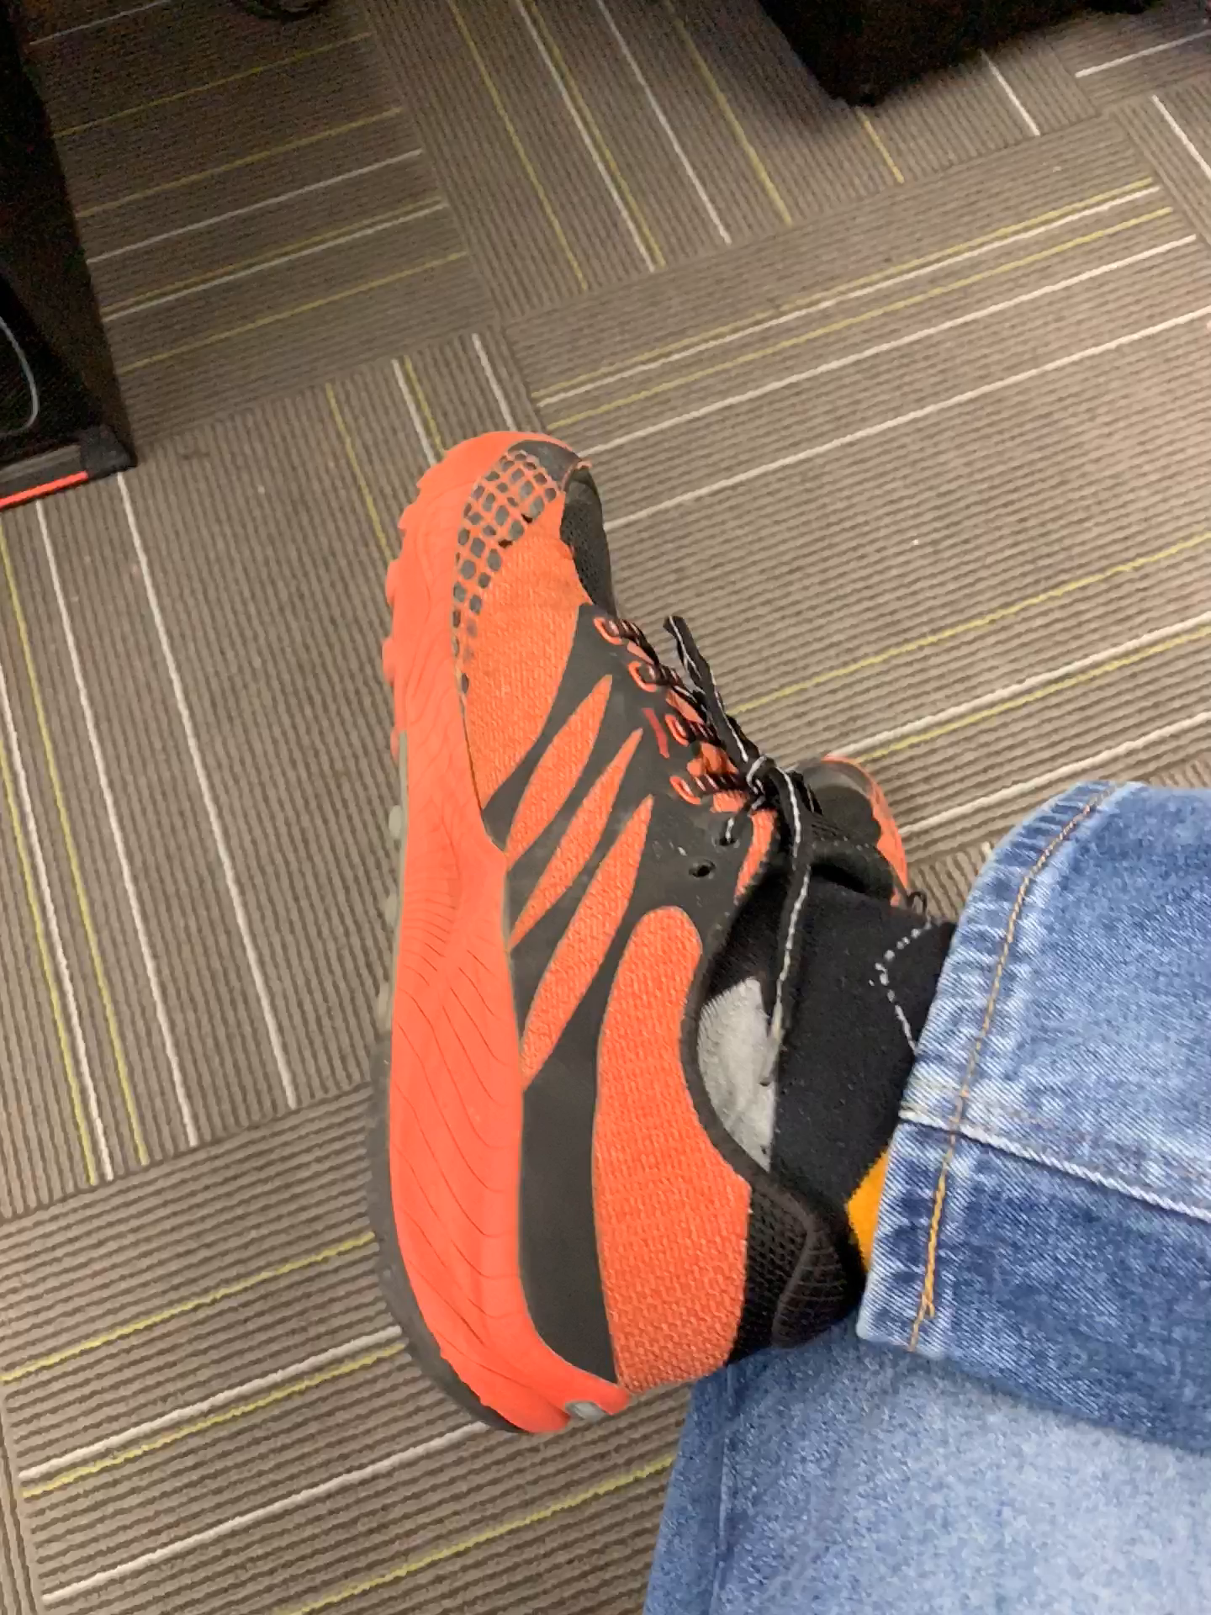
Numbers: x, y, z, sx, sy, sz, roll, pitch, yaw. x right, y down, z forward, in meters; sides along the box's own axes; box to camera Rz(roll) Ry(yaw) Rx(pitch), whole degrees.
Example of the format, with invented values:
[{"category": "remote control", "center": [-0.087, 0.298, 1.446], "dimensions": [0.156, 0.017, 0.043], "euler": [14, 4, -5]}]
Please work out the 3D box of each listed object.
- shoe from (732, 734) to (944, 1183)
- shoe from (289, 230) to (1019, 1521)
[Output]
[{"category": "shoe", "center": [0.163, 0.106, 0.915], "dimensions": [0.117, 0.068, 0.319], "euler": [-1, 69, 0]}, {"category": "shoe", "center": [0.001, 0.010, 0.365], "dimensions": [0.146, 0.111, 0.321], "euler": [-10, 67, 7]}]
